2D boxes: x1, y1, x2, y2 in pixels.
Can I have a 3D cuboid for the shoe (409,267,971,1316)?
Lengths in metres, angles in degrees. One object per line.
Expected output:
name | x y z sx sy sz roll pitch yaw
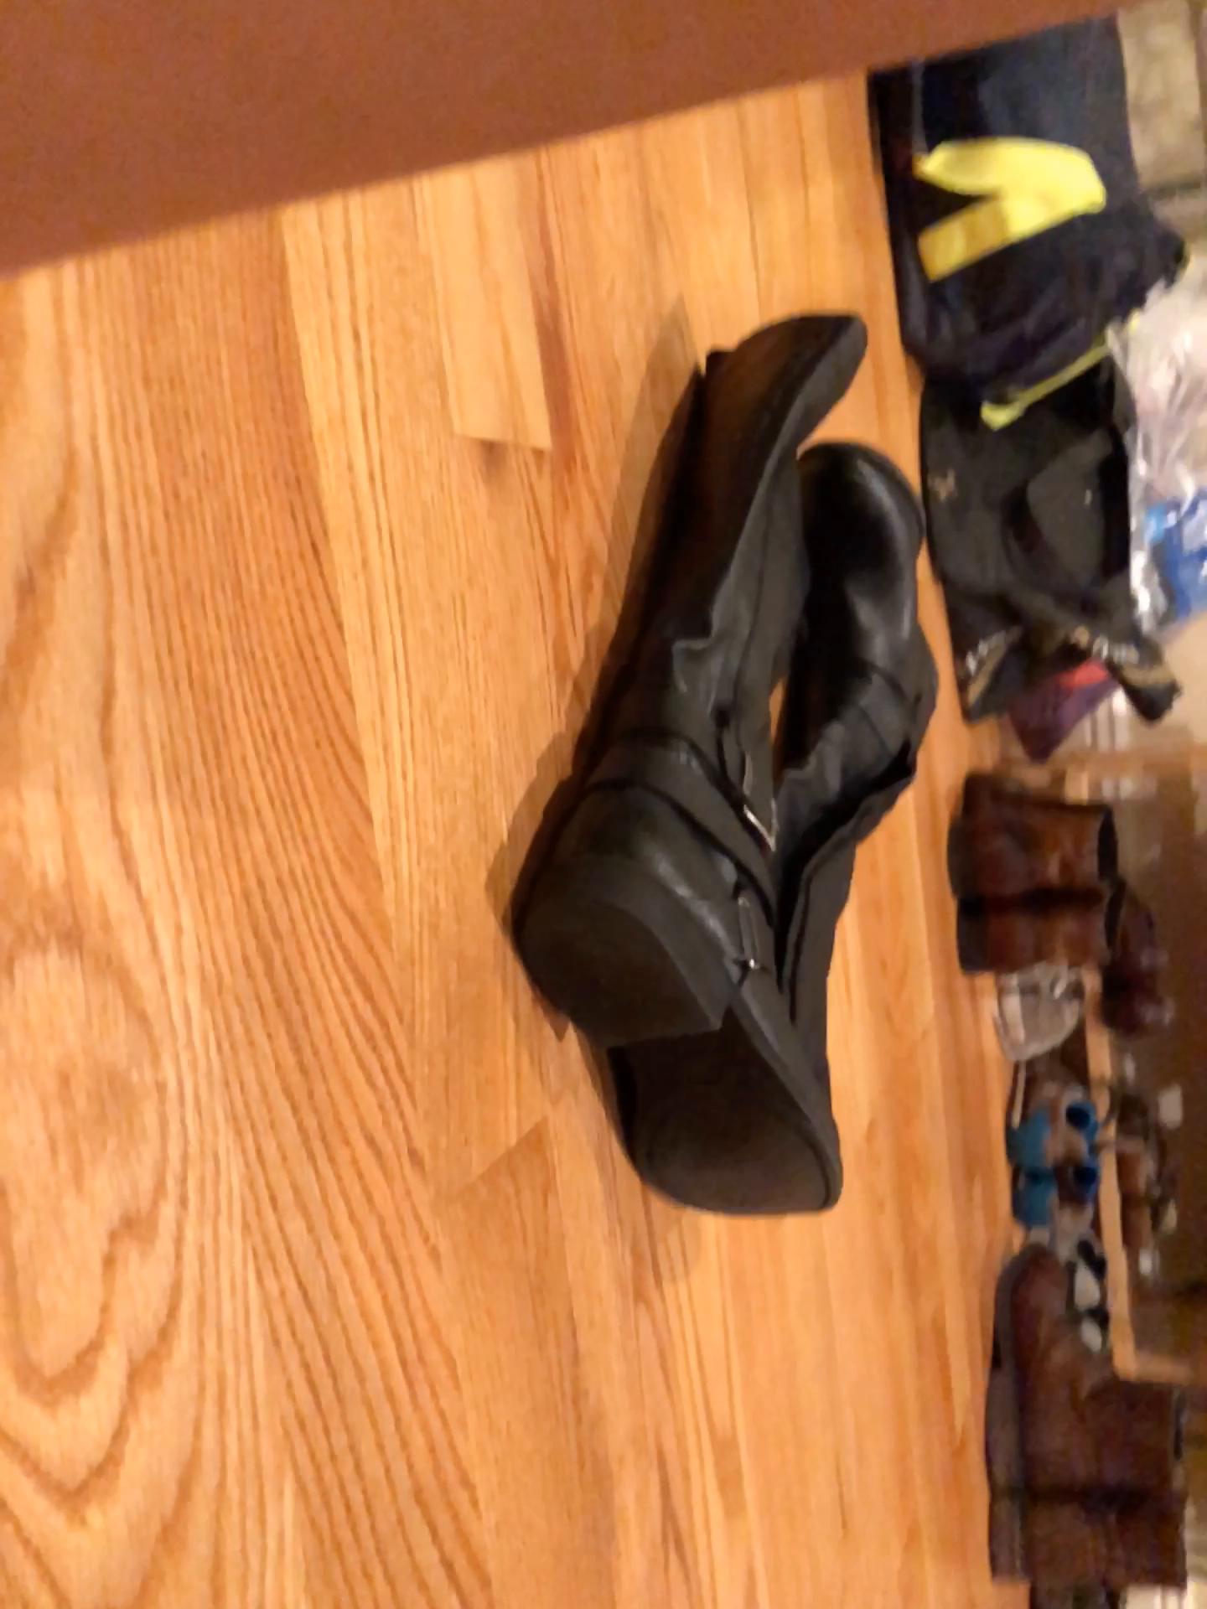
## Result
shoe | 0.085 -0.023 0.637 0.405 0.104 0.291 -69 146 -43

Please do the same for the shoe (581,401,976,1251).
shoe | 0.124 -0.006 0.721 0.394 0.094 0.250 -69 146 -45
